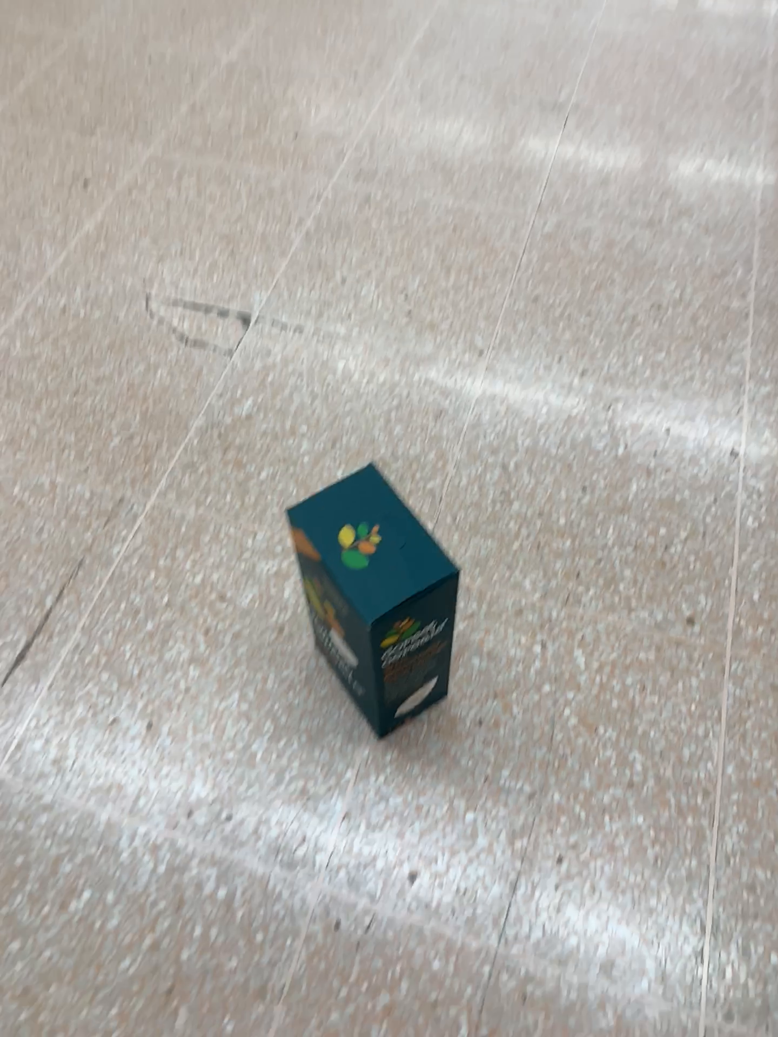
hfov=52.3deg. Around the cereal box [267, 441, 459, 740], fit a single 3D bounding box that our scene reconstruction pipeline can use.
[{"bbox_3d":[-0.017,0.069,0.641,0.080,0.238,0.121,-29,60,-17],"label":"cereal box"}]
